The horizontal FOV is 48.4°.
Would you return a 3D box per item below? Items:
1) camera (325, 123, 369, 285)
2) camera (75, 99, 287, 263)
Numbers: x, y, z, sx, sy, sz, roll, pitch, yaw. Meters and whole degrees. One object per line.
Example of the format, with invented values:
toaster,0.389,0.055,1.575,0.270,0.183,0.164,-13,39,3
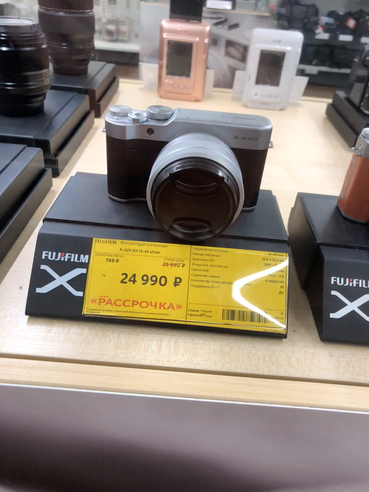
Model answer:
camera,0.185,-0.034,0.298,0.128,0.072,0.088,6,34,0
camera,-0.002,-0.049,0.288,0.120,0.072,0.088,6,34,0
